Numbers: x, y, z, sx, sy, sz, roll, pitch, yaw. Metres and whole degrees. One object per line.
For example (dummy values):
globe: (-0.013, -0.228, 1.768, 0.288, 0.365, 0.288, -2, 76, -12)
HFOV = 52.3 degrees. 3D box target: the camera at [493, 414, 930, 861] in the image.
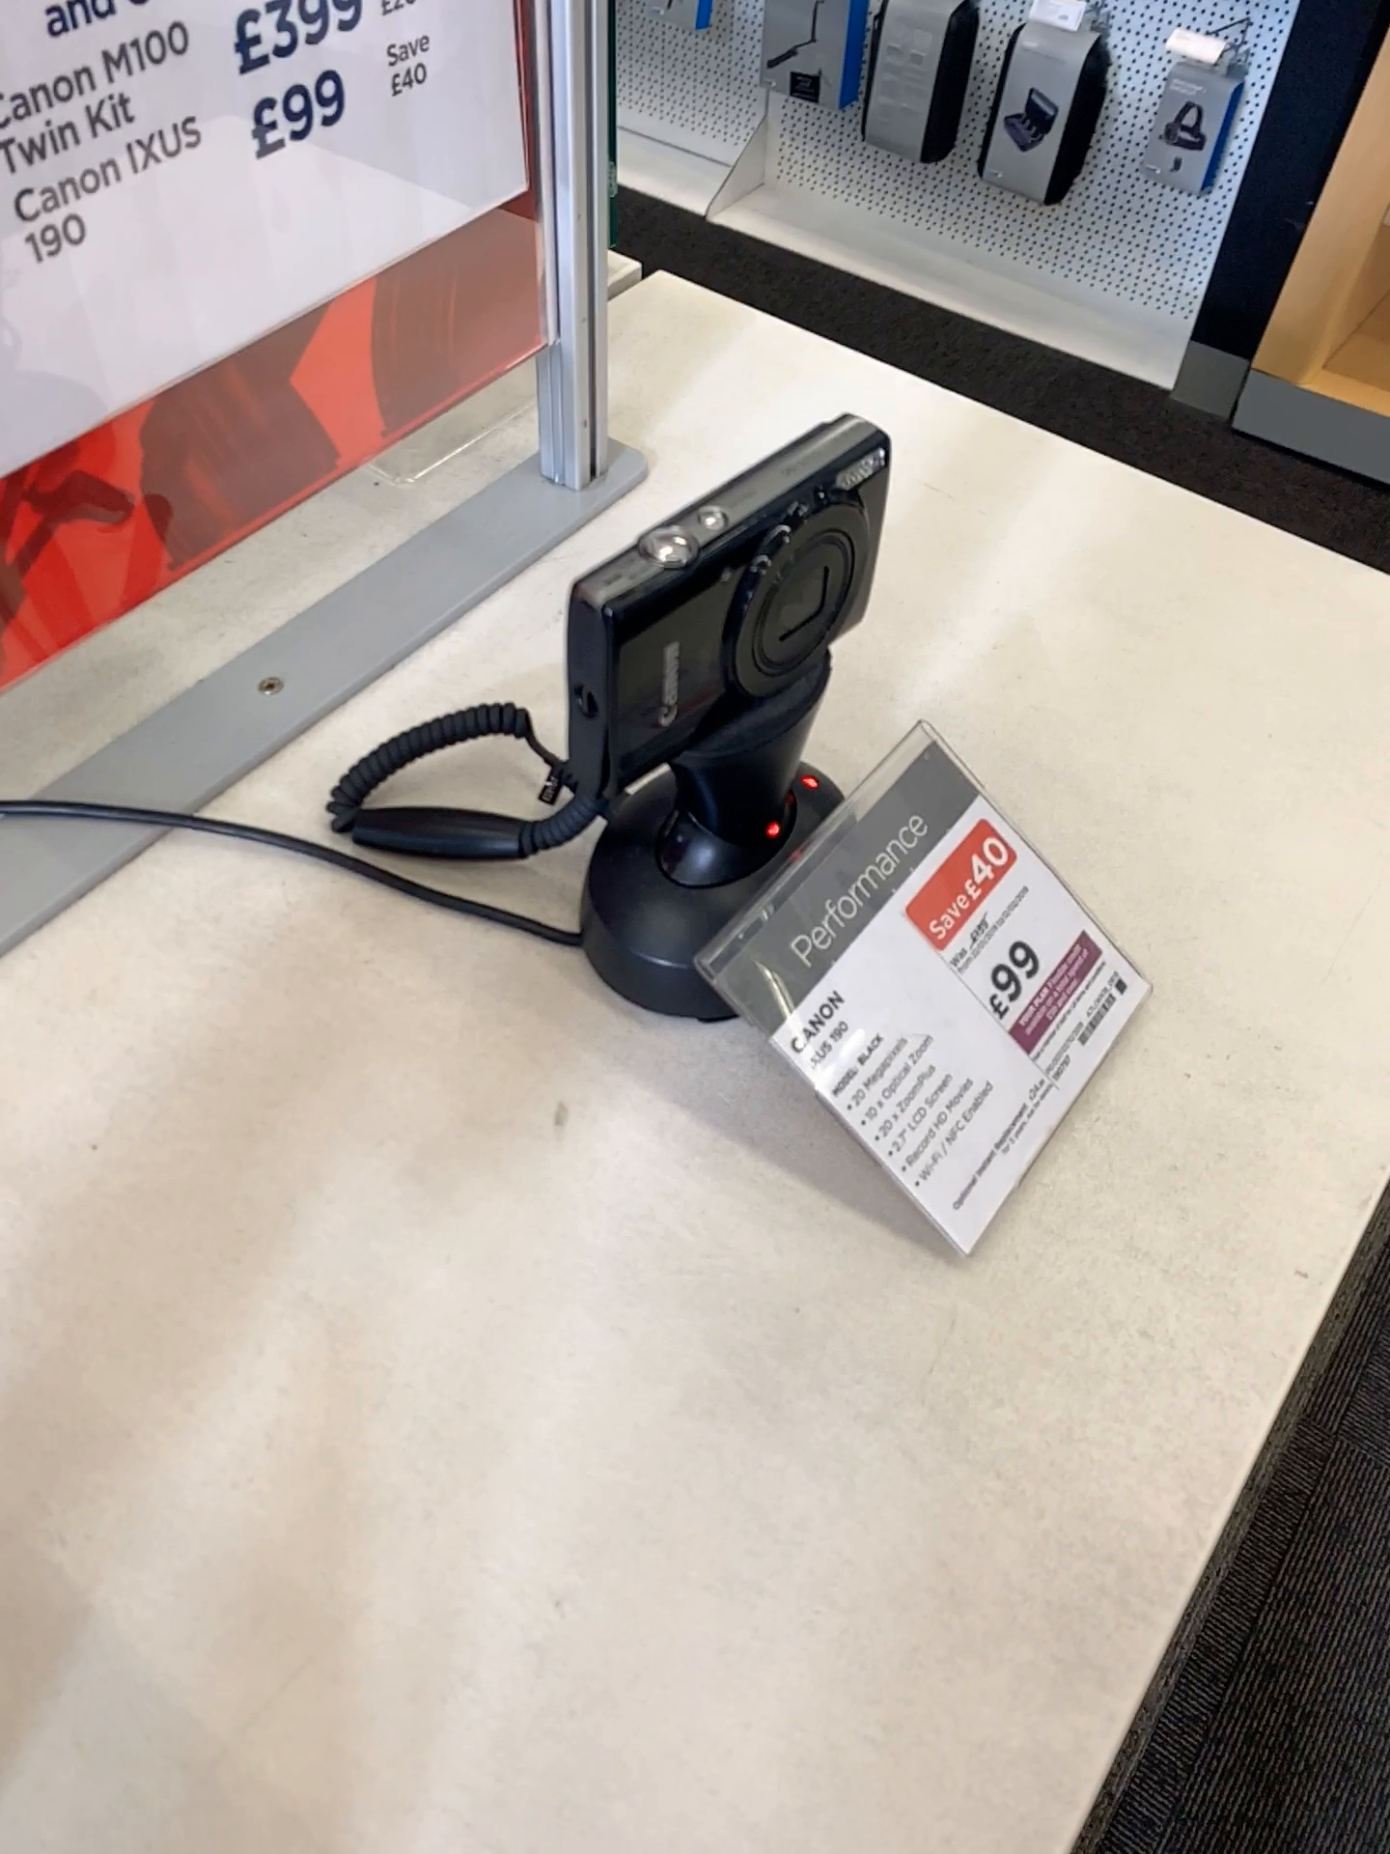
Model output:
camera: (0.005, -0.065, 0.311, 0.030, 0.050, 0.101, 37, 58, 24)
